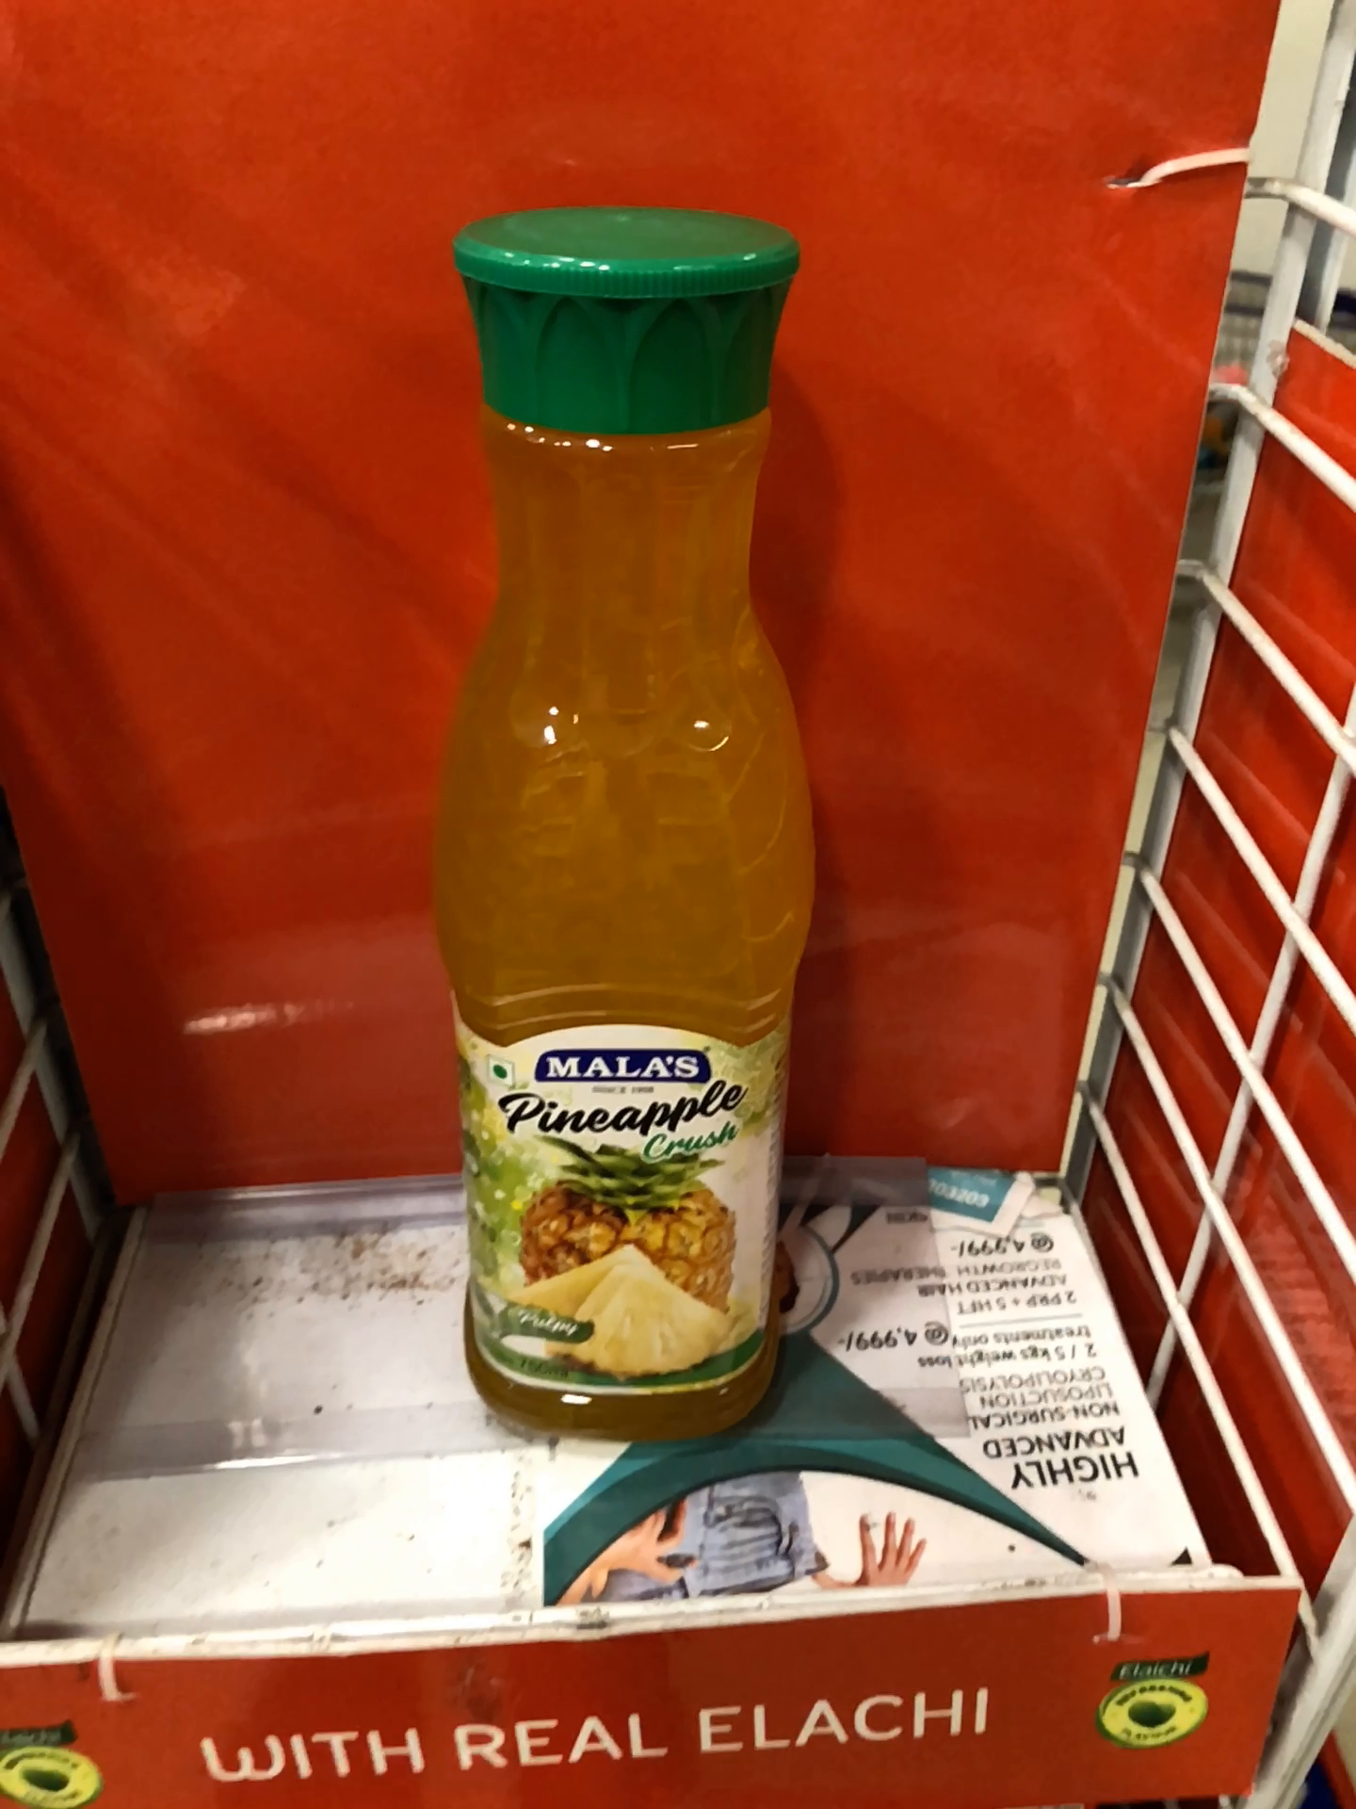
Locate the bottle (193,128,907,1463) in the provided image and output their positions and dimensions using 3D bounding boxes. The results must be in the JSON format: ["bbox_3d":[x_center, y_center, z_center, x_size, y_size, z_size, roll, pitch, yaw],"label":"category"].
[{"bbox_3d":[-0.018,-0.001,0.293,0.090,0.258,0.070,0,35,-1],"label":"bottle"}]
